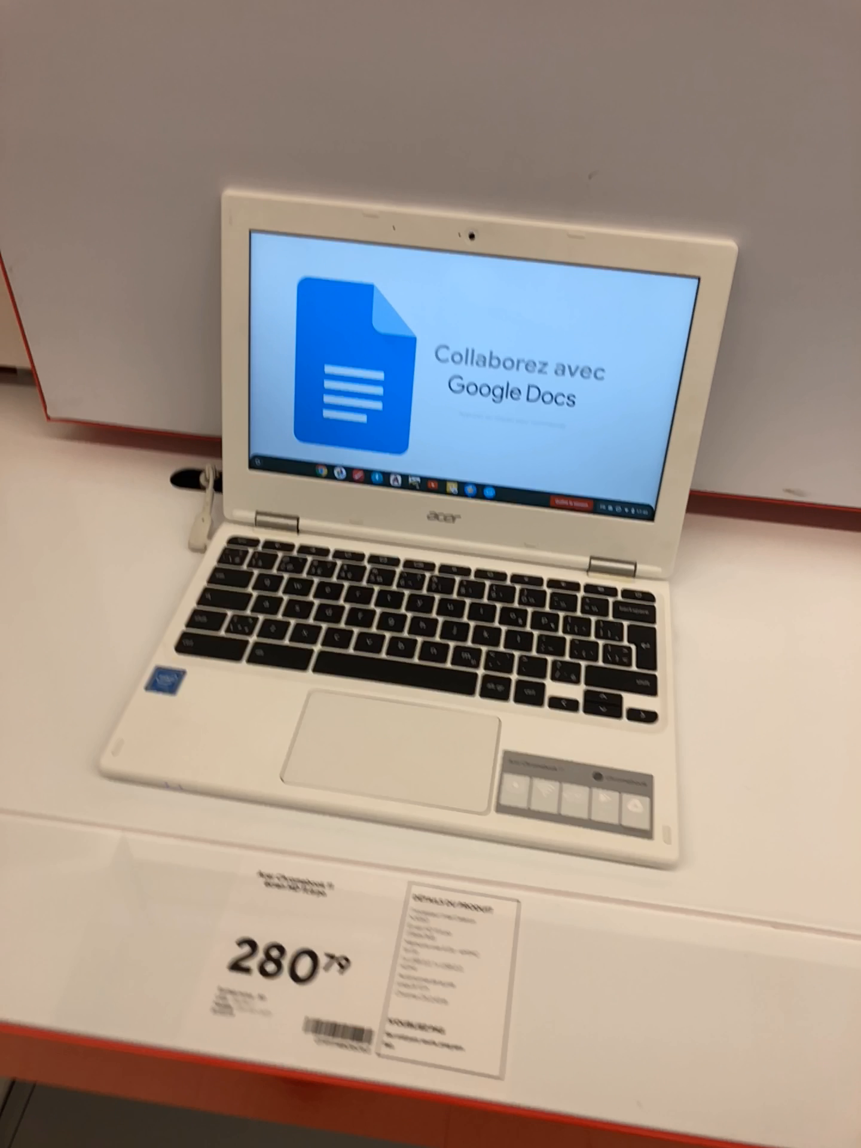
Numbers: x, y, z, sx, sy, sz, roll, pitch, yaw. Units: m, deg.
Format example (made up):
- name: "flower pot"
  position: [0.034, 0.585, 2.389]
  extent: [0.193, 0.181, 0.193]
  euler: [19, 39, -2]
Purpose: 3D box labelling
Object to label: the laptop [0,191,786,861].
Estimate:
- name: "laptop"
  position: [-0.003, -0.040, 0.488]
  extent: [0.282, 0.188, 0.260]
  euler: [7, 43, 6]
